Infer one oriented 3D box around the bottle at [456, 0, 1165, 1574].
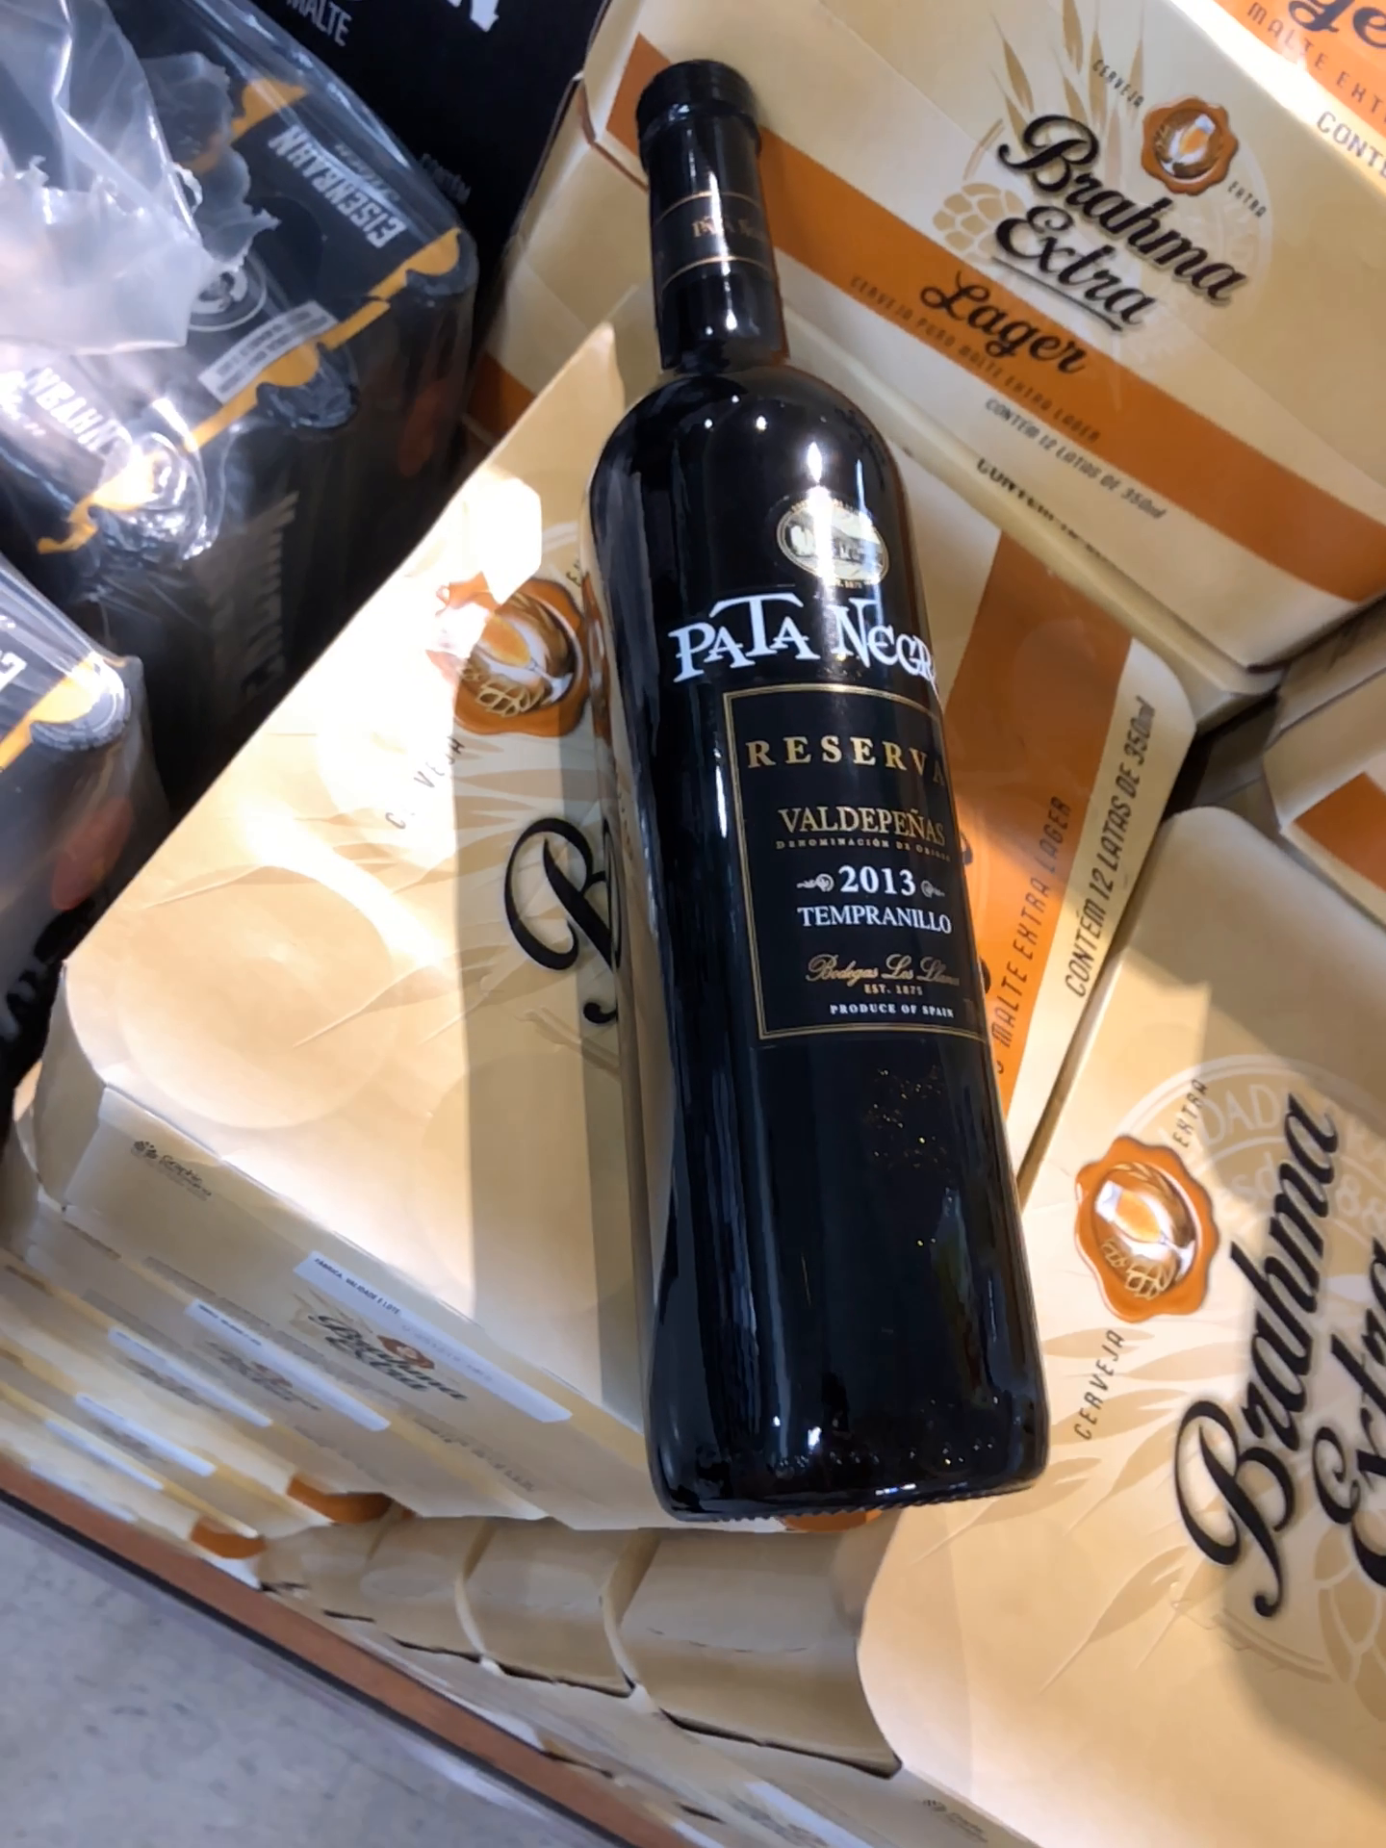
[{"bbox_3d":[0.006,-0.077,0.319,0.080,0.080,0.381,4,70,-24],"label":"bottle"}]
